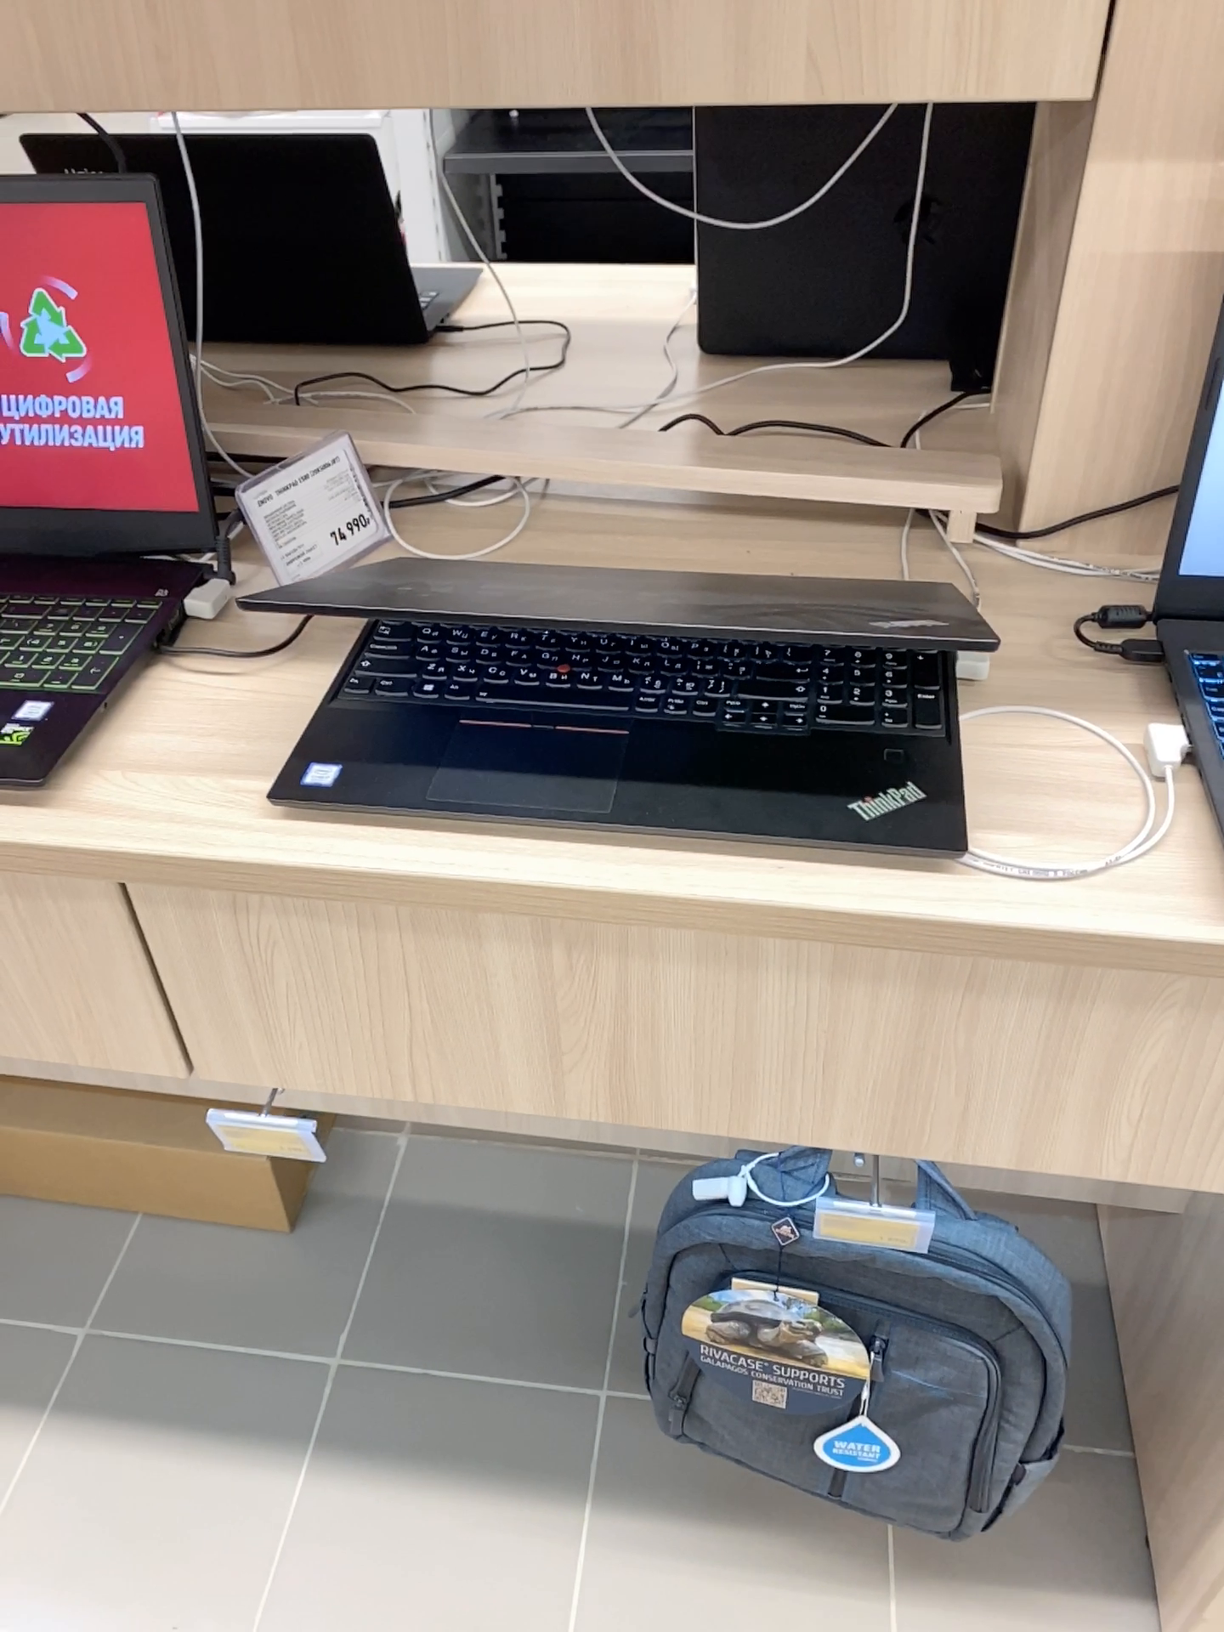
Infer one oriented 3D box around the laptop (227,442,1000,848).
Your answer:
[{"bbox_3d":[0.013,-0.112,0.702,0.368,0.093,0.241,5,40,10],"label":"laptop"}]
